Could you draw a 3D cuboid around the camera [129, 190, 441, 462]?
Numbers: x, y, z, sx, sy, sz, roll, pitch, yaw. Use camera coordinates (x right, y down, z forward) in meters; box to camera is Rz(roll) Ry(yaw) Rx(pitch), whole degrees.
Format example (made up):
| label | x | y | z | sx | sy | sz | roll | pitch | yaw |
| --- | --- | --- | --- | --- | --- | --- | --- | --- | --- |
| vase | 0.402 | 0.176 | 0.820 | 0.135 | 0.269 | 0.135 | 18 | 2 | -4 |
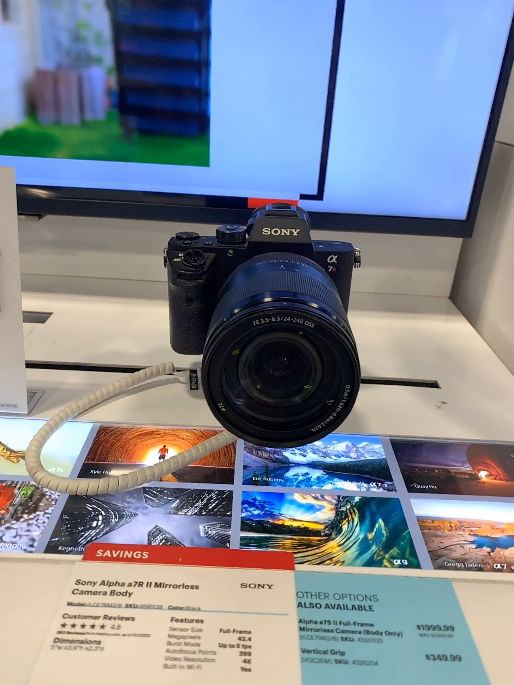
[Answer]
| label | x | y | z | sx | sy | sz | roll | pitch | yaw |
| --- | --- | --- | --- | --- | --- | --- | --- | --- | --- |
| camera | 0.005 | -0.025 | 0.319 | 0.128 | 0.091 | 0.185 | 1 | 27 | -4 |
